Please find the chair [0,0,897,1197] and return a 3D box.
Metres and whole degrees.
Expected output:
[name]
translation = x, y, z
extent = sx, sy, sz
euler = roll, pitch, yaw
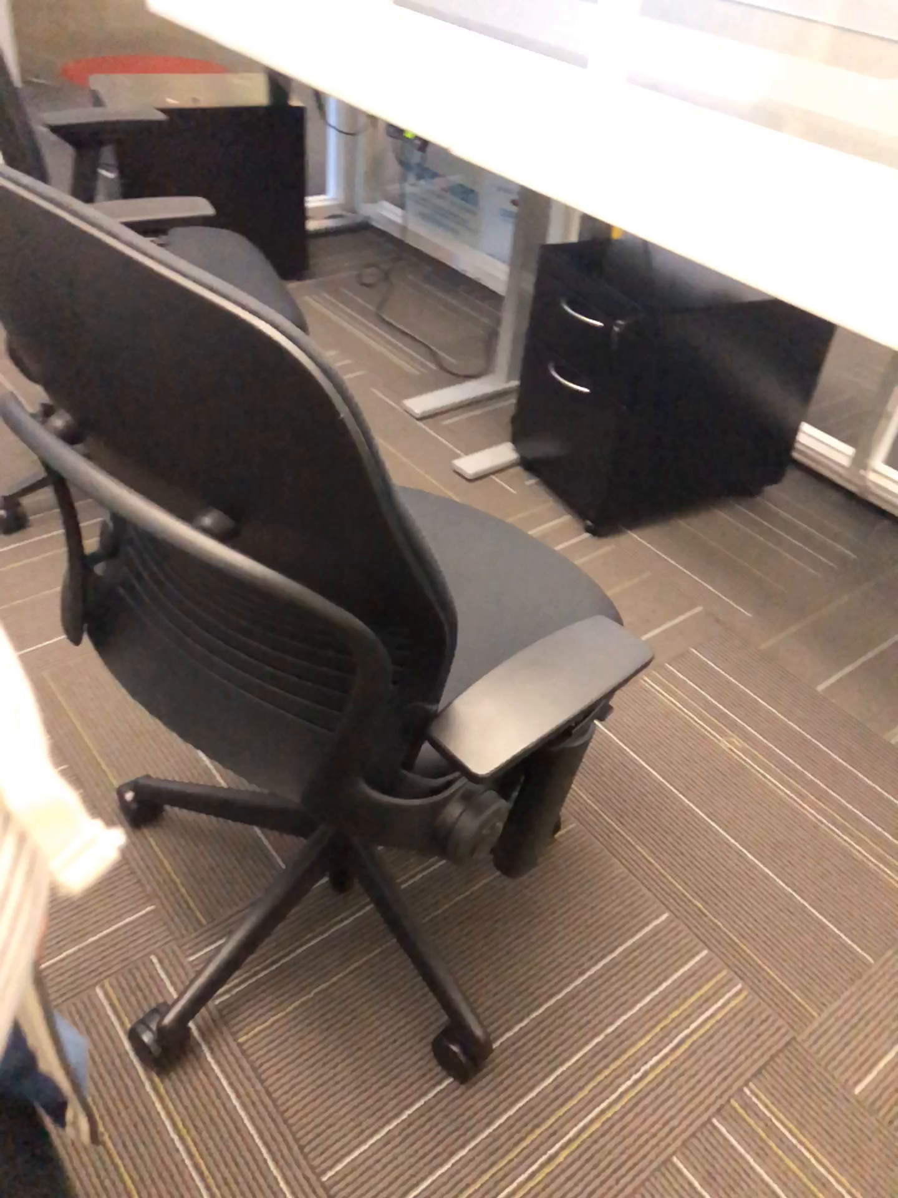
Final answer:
[chair]
translation = -0.110, -0.060, 1.149
extent = 0.732, 1.035, 0.832
euler = 30, 44, 28
